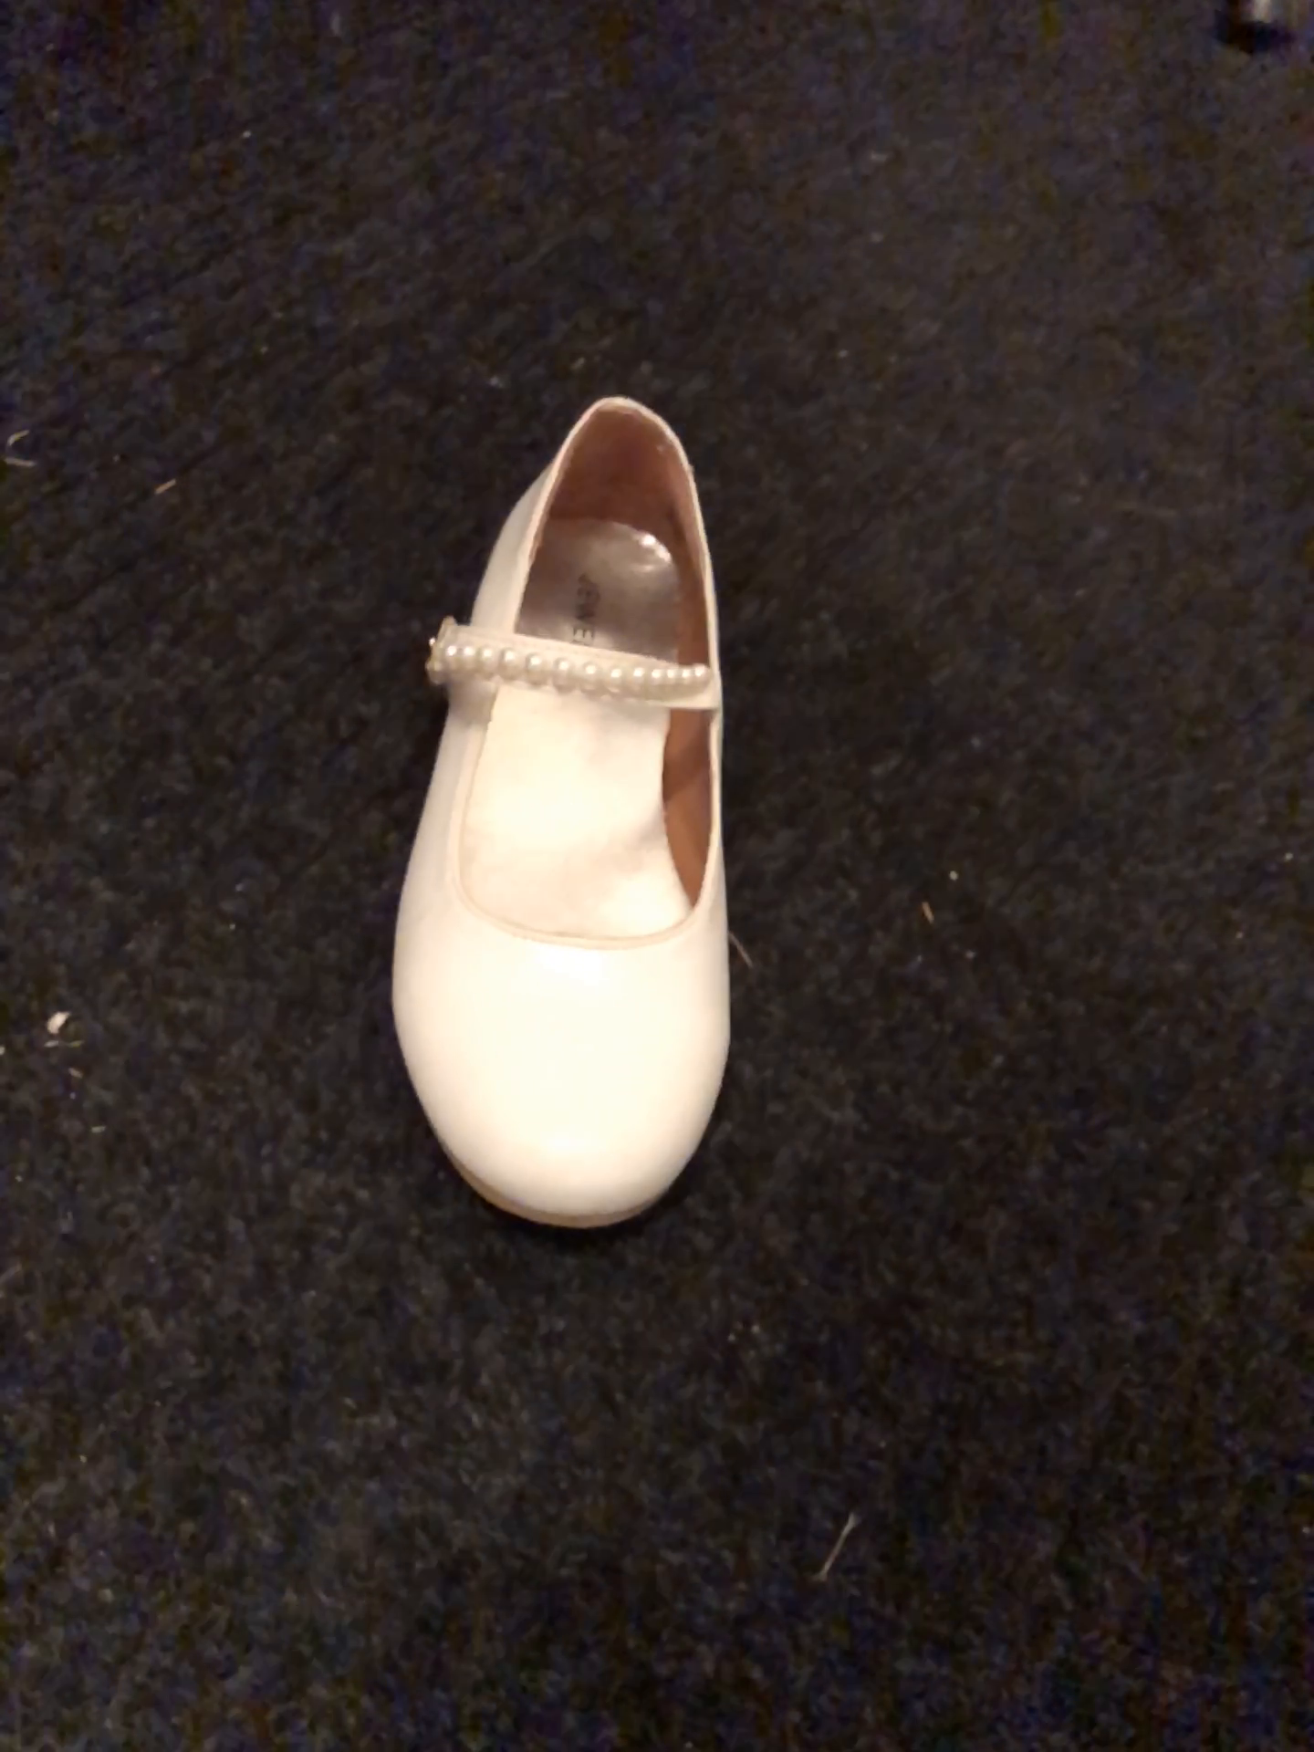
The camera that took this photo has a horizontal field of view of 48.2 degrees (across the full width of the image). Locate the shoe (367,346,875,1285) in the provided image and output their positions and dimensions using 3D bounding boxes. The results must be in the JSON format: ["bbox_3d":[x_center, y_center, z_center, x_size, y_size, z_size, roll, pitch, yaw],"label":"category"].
[{"bbox_3d":[-0.011,-0.022,0.333,0.080,0.080,0.201,8,50,-9],"label":"shoe"}]
